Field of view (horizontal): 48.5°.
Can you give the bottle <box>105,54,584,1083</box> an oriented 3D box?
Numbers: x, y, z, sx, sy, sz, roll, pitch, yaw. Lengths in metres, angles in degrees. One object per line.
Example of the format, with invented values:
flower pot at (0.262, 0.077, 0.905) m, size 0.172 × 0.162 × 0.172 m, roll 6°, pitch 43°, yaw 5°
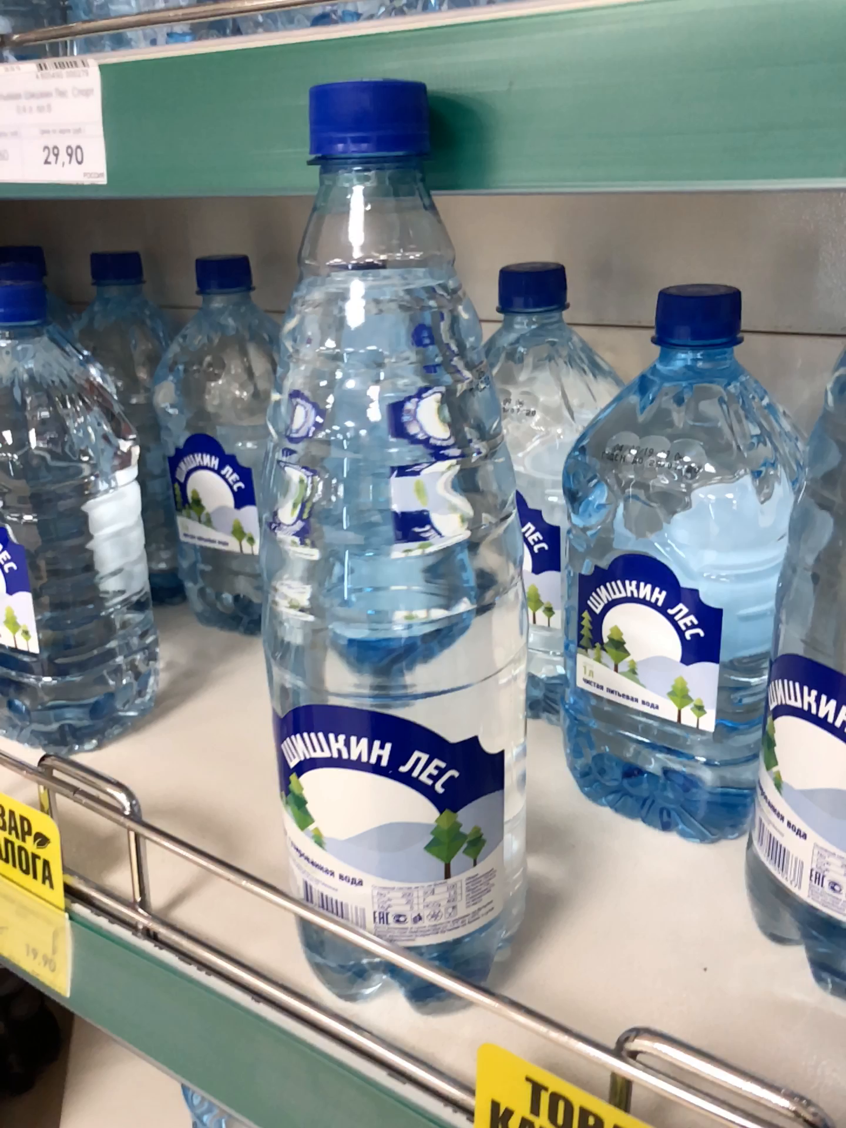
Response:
bottle at (-0.009, 0.008, 0.282) m, size 0.090 × 0.272 × 0.080 m, roll 8°, pitch 24°, yaw 26°
